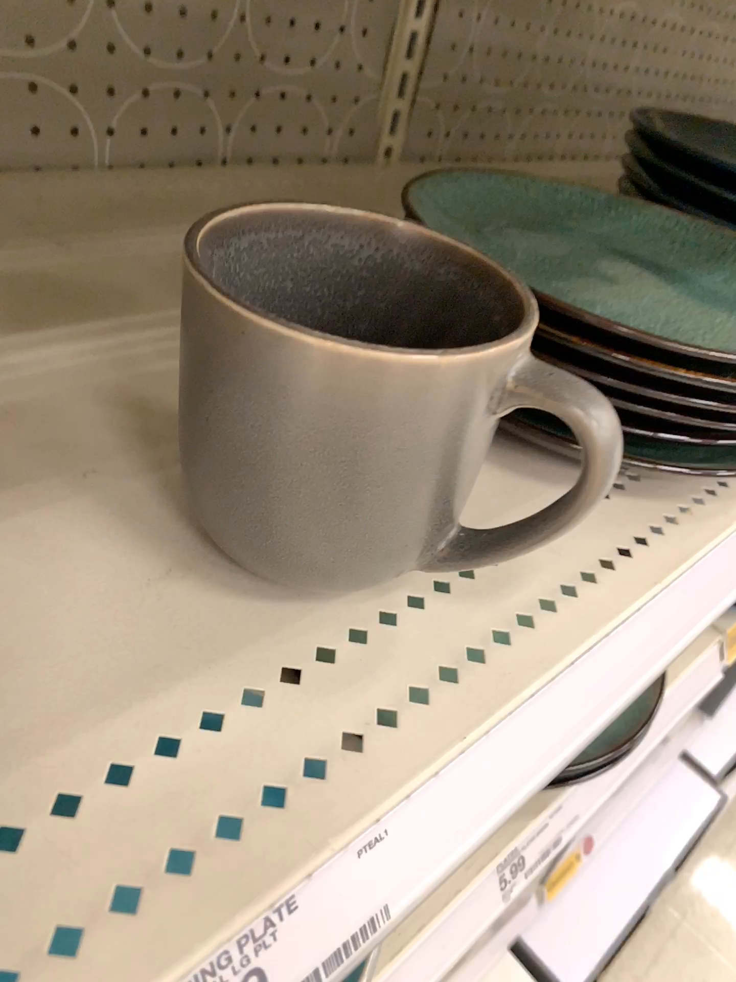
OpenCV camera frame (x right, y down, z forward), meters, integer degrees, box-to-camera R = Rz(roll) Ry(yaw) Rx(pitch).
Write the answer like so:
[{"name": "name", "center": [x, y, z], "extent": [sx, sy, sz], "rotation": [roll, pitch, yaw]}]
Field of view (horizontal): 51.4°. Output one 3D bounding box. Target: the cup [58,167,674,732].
[{"name": "cup", "center": [0.001, -0.023, 0.217], "extent": [0.130, 0.080, 0.101], "rotation": [25, 37, 13]}]
